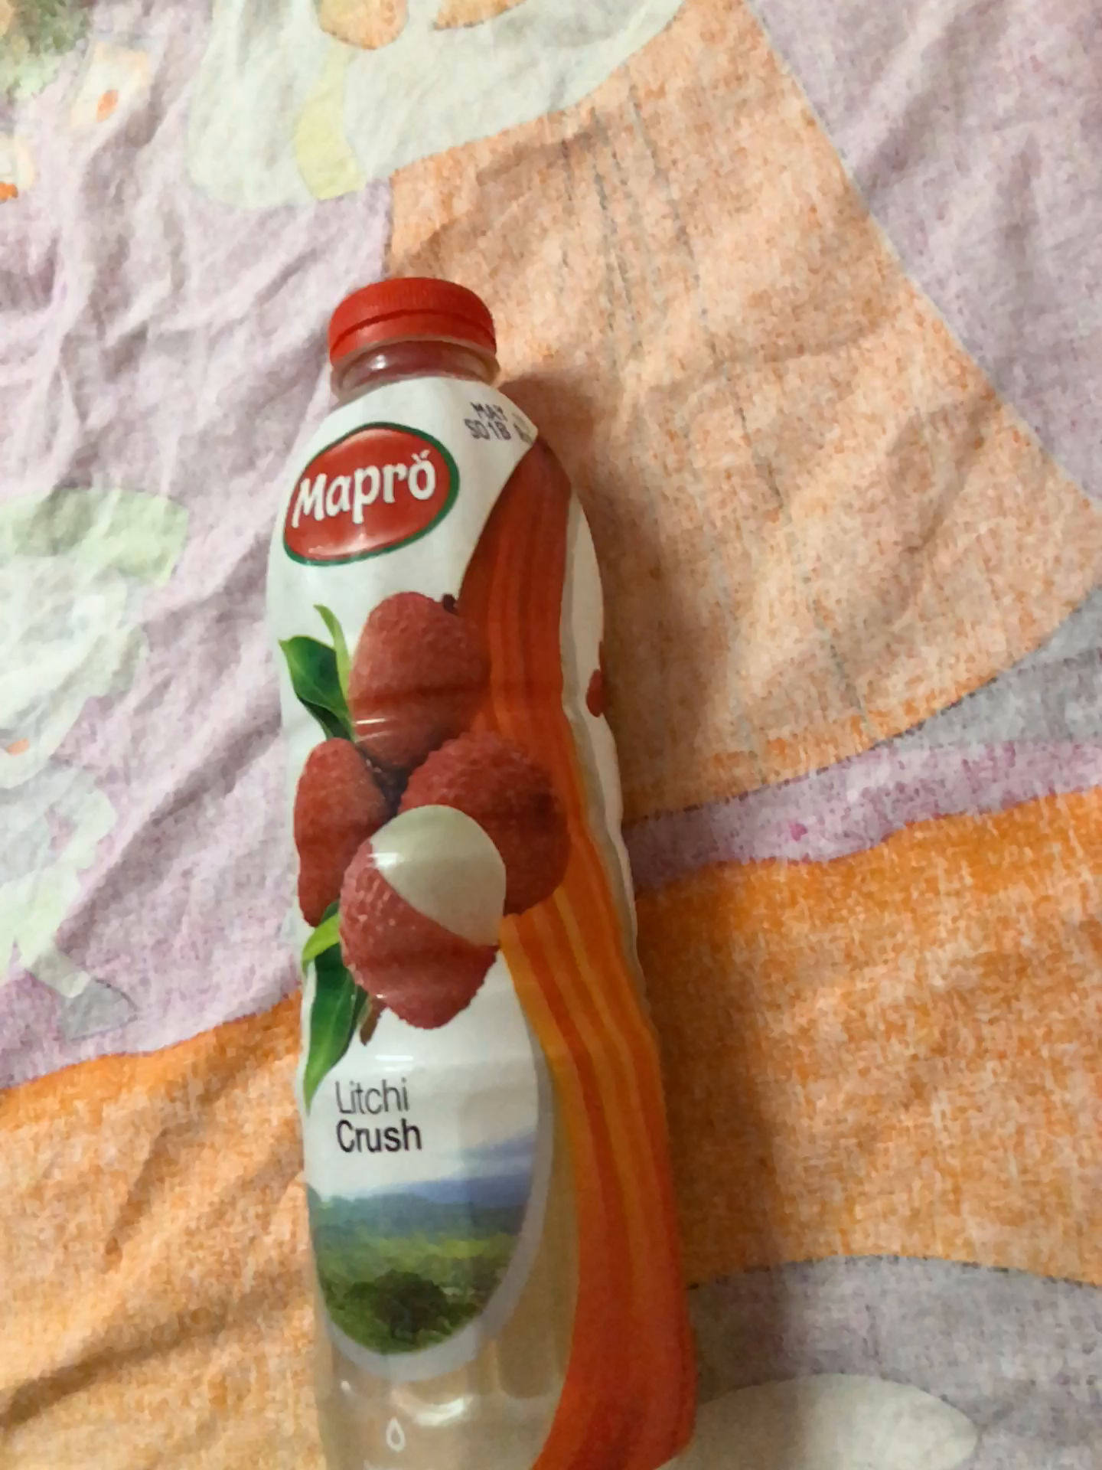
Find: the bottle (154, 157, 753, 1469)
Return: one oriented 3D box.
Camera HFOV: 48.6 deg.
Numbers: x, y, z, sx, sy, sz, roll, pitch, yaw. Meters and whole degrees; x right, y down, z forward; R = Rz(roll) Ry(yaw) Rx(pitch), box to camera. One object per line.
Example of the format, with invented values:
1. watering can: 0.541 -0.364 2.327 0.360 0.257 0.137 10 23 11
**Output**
1. bottle: -0.024 0.026 0.262 0.080 0.070 0.260 -11 79 27
